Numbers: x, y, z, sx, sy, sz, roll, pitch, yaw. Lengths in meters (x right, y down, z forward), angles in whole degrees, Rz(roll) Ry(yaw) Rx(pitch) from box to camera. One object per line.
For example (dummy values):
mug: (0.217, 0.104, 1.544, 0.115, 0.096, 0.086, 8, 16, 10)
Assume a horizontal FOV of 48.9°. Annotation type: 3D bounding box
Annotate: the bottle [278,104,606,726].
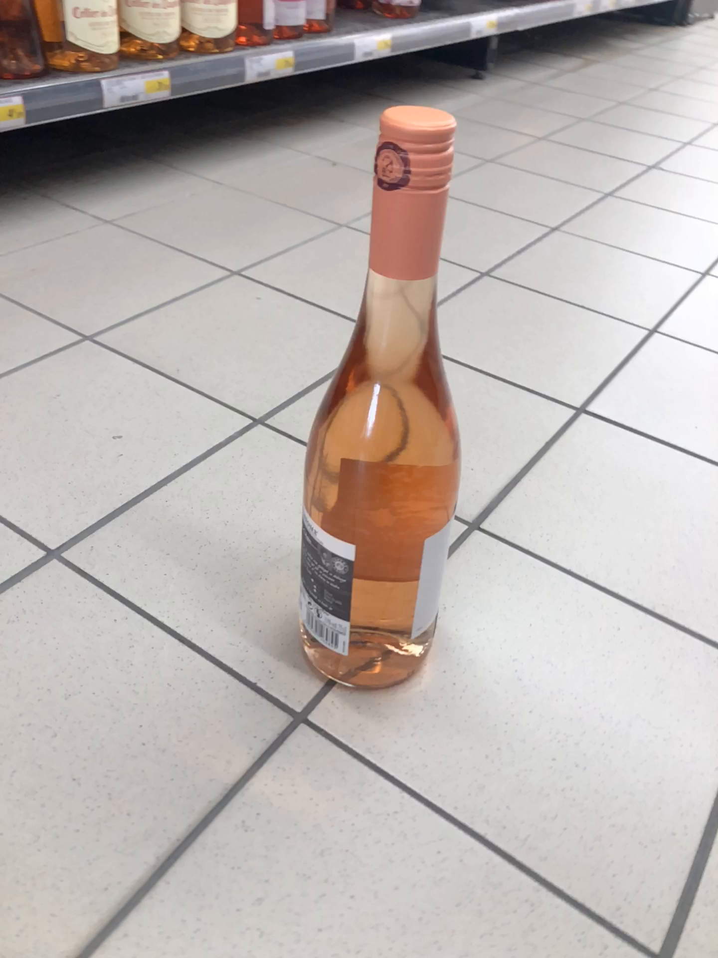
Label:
bottle: (0.020, -0.017, 0.377, 0.080, 0.278, 0.090, -15, 42, -26)
